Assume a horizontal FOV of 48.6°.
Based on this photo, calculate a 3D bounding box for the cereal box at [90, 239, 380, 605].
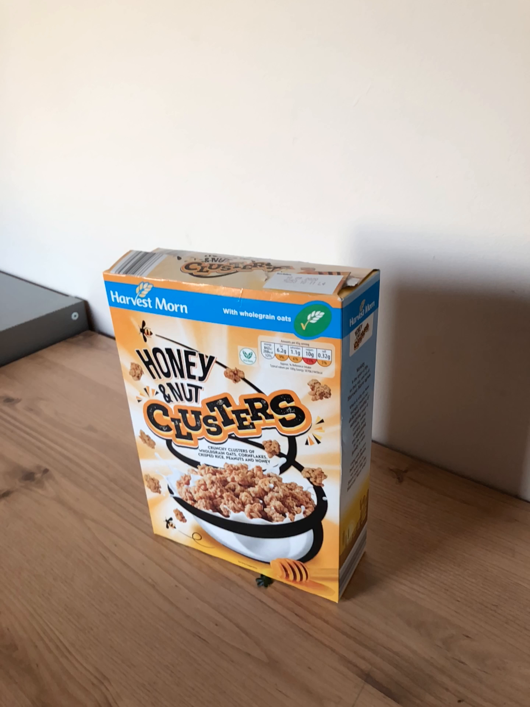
[{"bbox_3d":[-0.015,0.050,0.458,0.190,0.248,0.070,10,31,26],"label":"cereal box"}]
